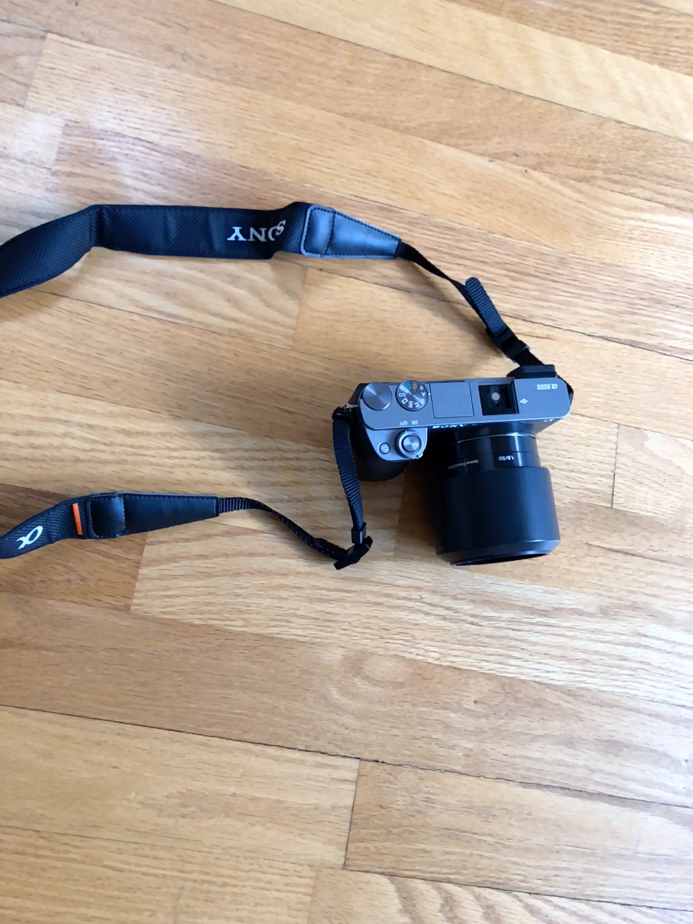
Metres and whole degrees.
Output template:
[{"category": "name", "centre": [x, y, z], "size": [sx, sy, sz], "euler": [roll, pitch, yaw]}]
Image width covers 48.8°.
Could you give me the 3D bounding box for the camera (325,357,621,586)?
[{"category": "camera", "centre": [0.067, 0.006, 0.435], "size": [0.140, 0.060, 0.110], "euler": [-5, 79, -12]}]
